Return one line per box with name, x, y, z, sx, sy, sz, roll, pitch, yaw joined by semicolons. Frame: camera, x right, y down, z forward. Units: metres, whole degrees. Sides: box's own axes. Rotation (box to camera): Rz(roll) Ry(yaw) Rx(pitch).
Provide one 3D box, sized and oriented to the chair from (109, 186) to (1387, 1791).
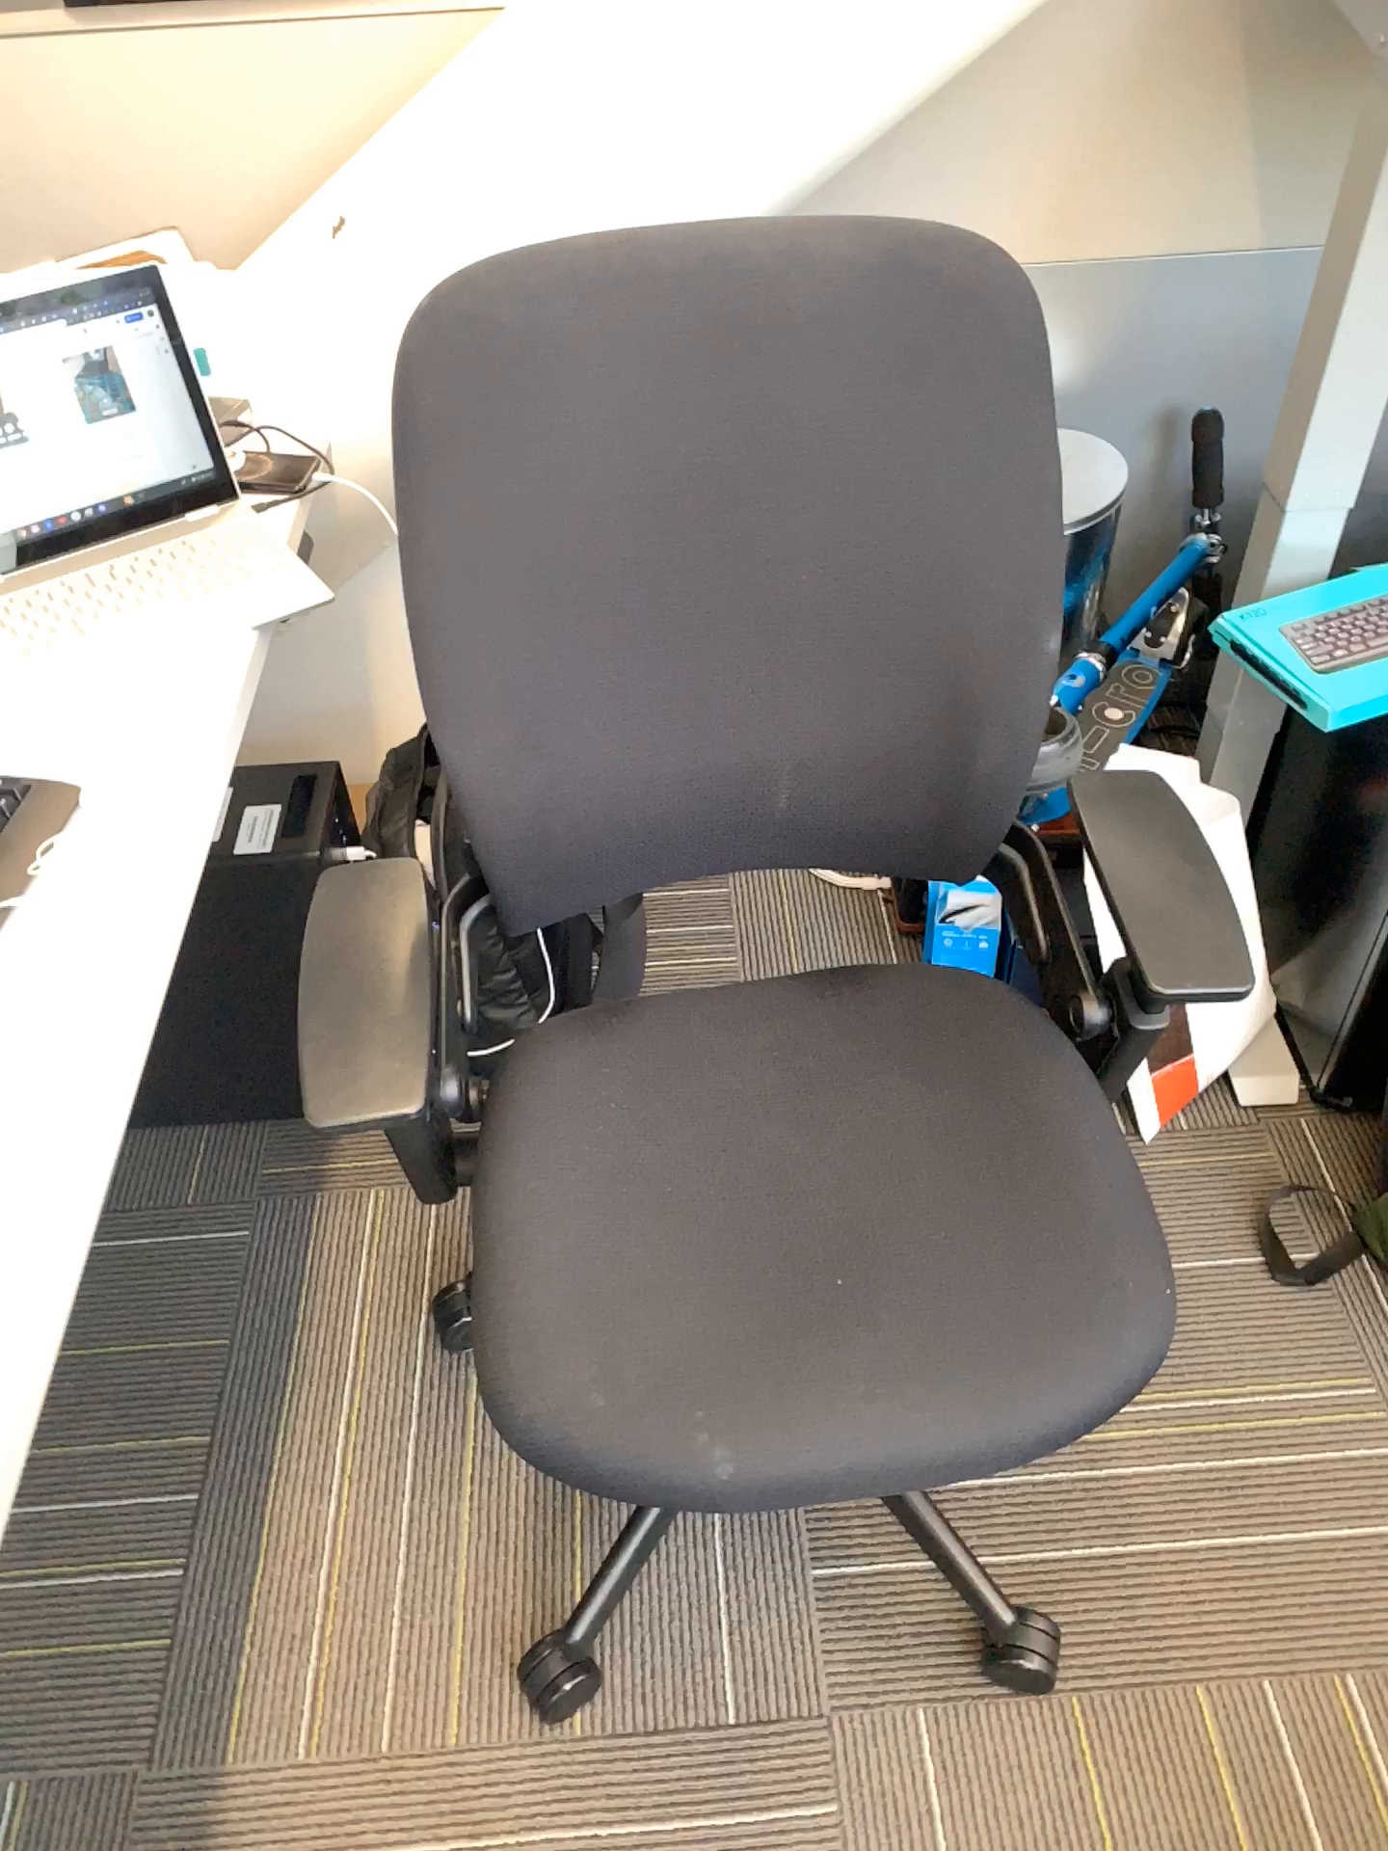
chair;0.072;0.198;1.257;0.580;1.362;0.634;-4;45;0
